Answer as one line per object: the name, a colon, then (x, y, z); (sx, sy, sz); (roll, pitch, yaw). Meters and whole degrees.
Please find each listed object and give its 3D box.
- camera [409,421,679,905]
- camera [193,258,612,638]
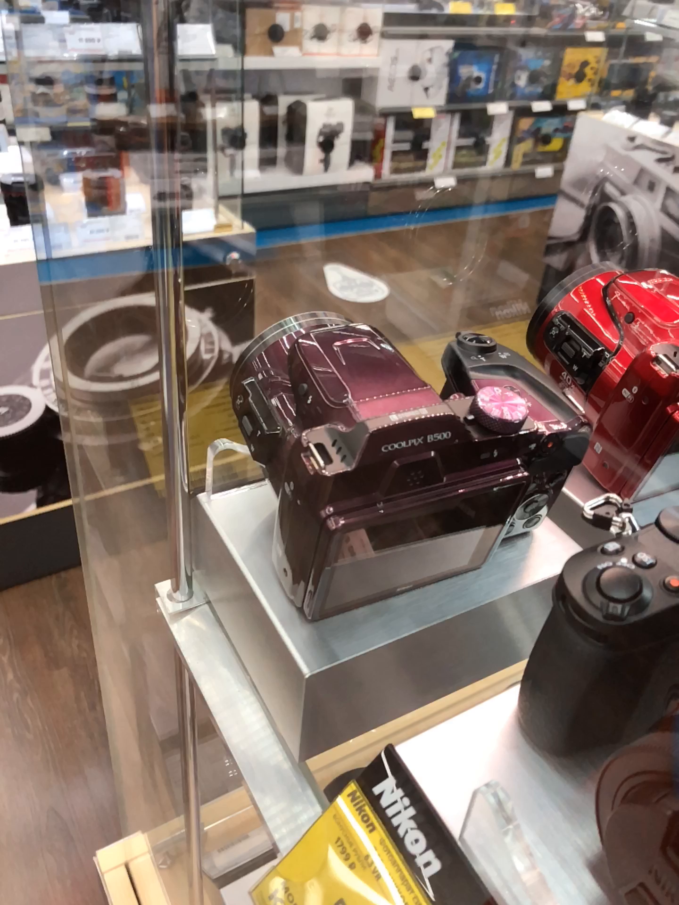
camera: (0.098, 0.072, 0.178); (0.100, 0.084, 0.134); (-13, 40, -23)
camera: (0.015, -0.010, 0.282); (0.109, 0.080, 0.100); (-13, 40, -24)
